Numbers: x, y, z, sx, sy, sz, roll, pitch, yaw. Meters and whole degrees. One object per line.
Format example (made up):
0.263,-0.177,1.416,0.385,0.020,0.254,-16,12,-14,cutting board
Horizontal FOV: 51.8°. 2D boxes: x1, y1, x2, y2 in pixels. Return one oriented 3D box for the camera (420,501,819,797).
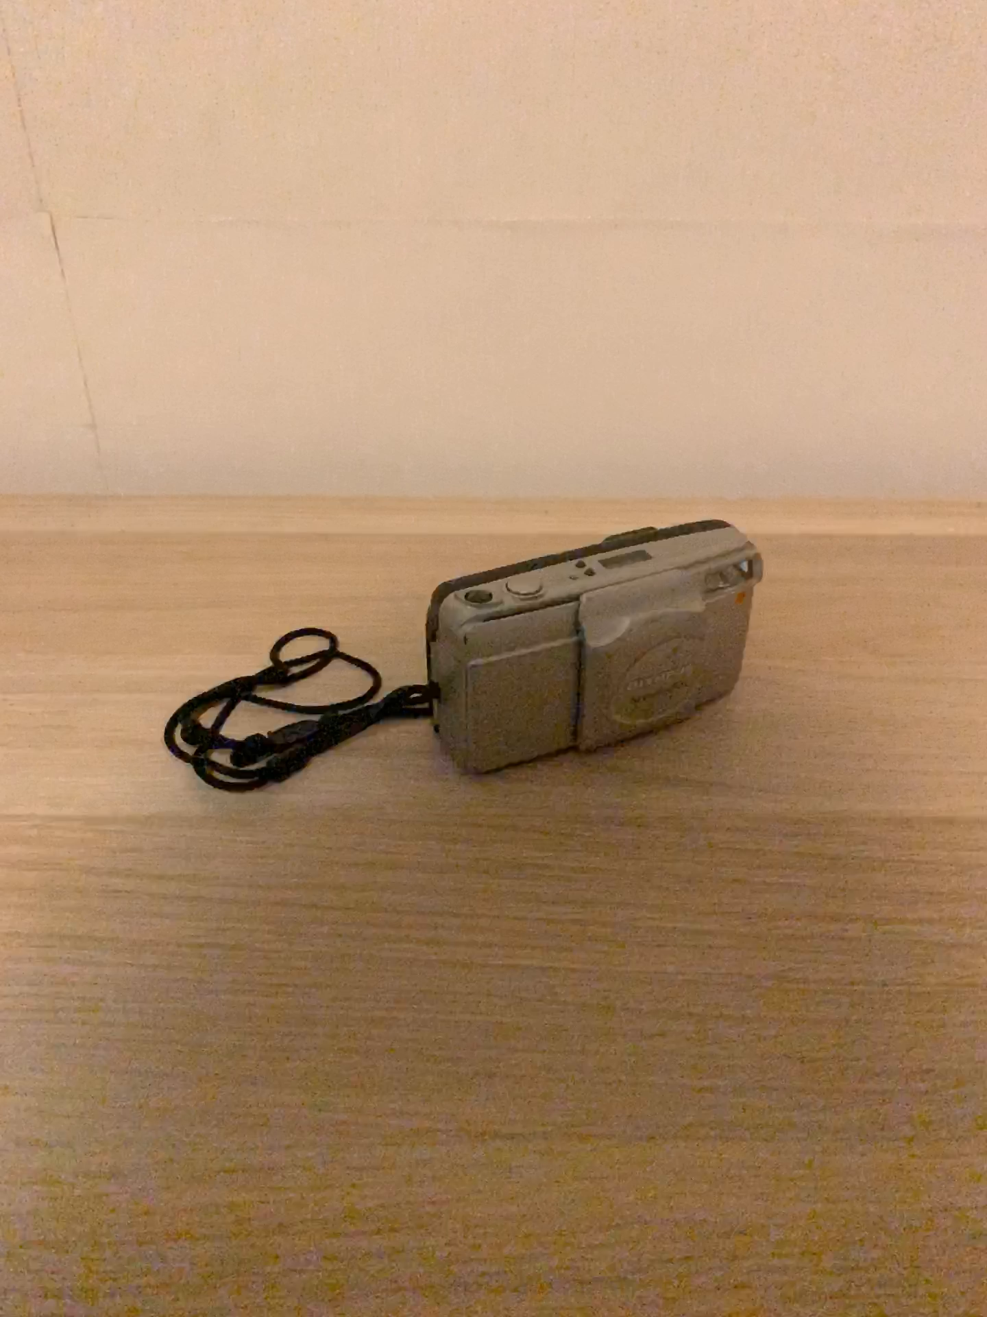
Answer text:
0.042,-0.007,0.351,0.126,0.059,0.046,-15,36,-22,camera
